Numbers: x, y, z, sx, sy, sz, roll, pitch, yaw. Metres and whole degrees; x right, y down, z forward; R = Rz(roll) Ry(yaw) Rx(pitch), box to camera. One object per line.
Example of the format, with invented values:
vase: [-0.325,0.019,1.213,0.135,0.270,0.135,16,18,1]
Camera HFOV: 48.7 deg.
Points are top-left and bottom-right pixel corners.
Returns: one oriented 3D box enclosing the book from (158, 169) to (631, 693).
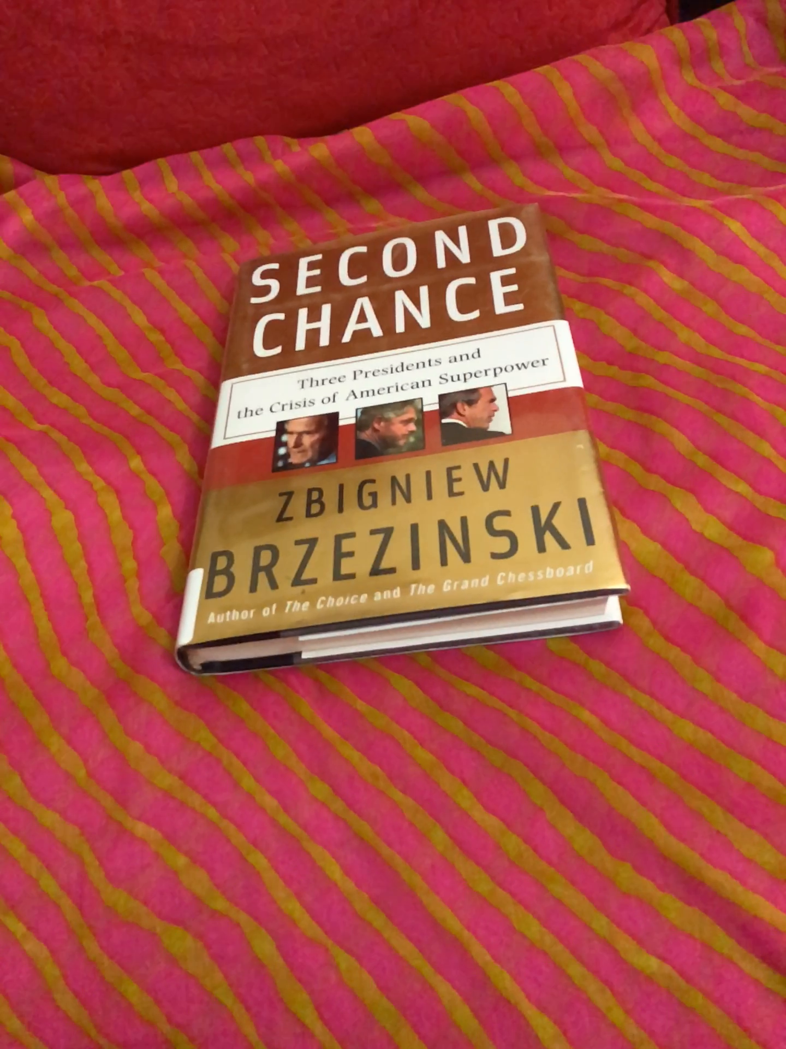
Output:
book: [-0.002,-0.045,0.329,0.140,0.037,0.200,-11,50,12]
